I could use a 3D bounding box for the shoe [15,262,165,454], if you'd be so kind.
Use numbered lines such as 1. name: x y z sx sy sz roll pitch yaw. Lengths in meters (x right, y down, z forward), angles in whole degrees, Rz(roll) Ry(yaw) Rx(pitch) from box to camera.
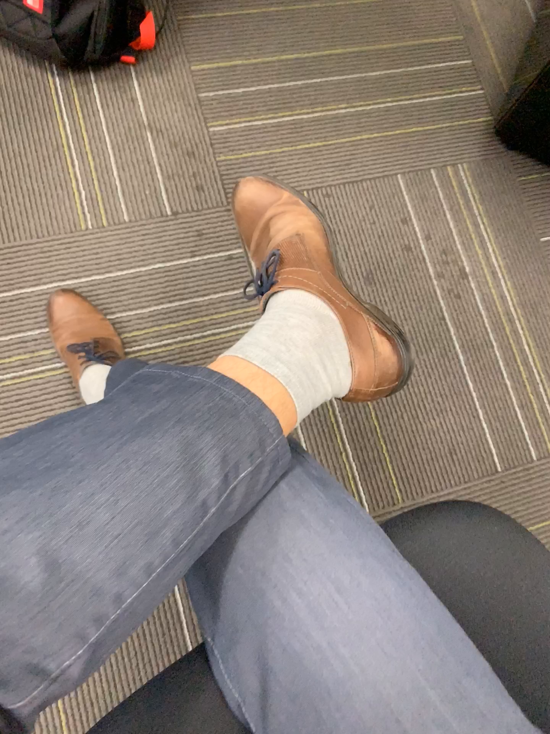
1. shoe: -0.288 -0.014 0.896 0.112 0.068 0.276 -27 83 -14

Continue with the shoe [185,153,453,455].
1. shoe: 0.036 -0.071 0.591 0.082 0.114 0.293 -23 74 -43
